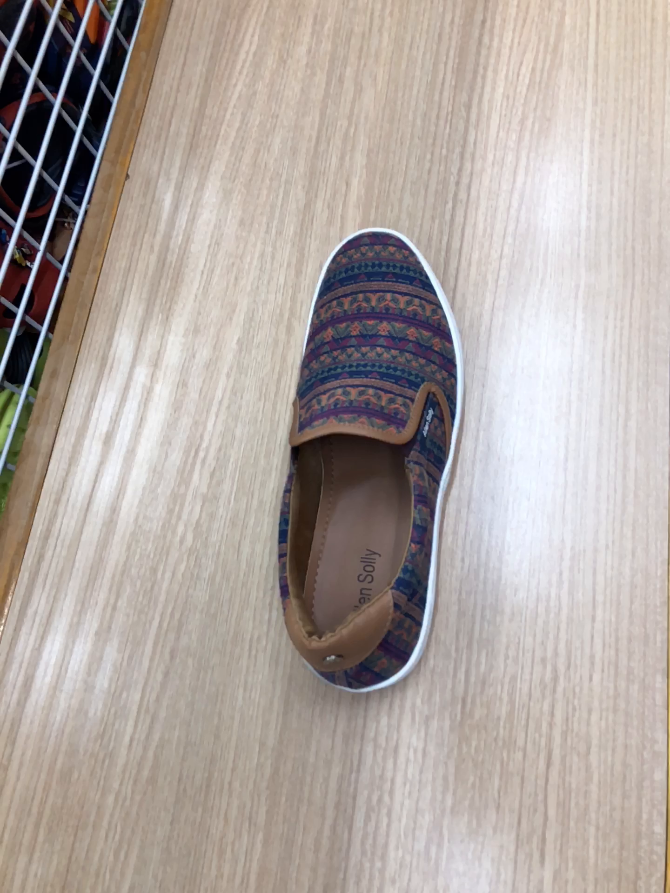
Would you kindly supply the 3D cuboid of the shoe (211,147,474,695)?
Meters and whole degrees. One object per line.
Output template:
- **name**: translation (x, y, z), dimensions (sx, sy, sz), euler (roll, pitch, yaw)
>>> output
- **shoe**: translation (0.017, -0.013, 0.397), dimensions (0.100, 0.090, 0.271), euler (0, 72, 15)
